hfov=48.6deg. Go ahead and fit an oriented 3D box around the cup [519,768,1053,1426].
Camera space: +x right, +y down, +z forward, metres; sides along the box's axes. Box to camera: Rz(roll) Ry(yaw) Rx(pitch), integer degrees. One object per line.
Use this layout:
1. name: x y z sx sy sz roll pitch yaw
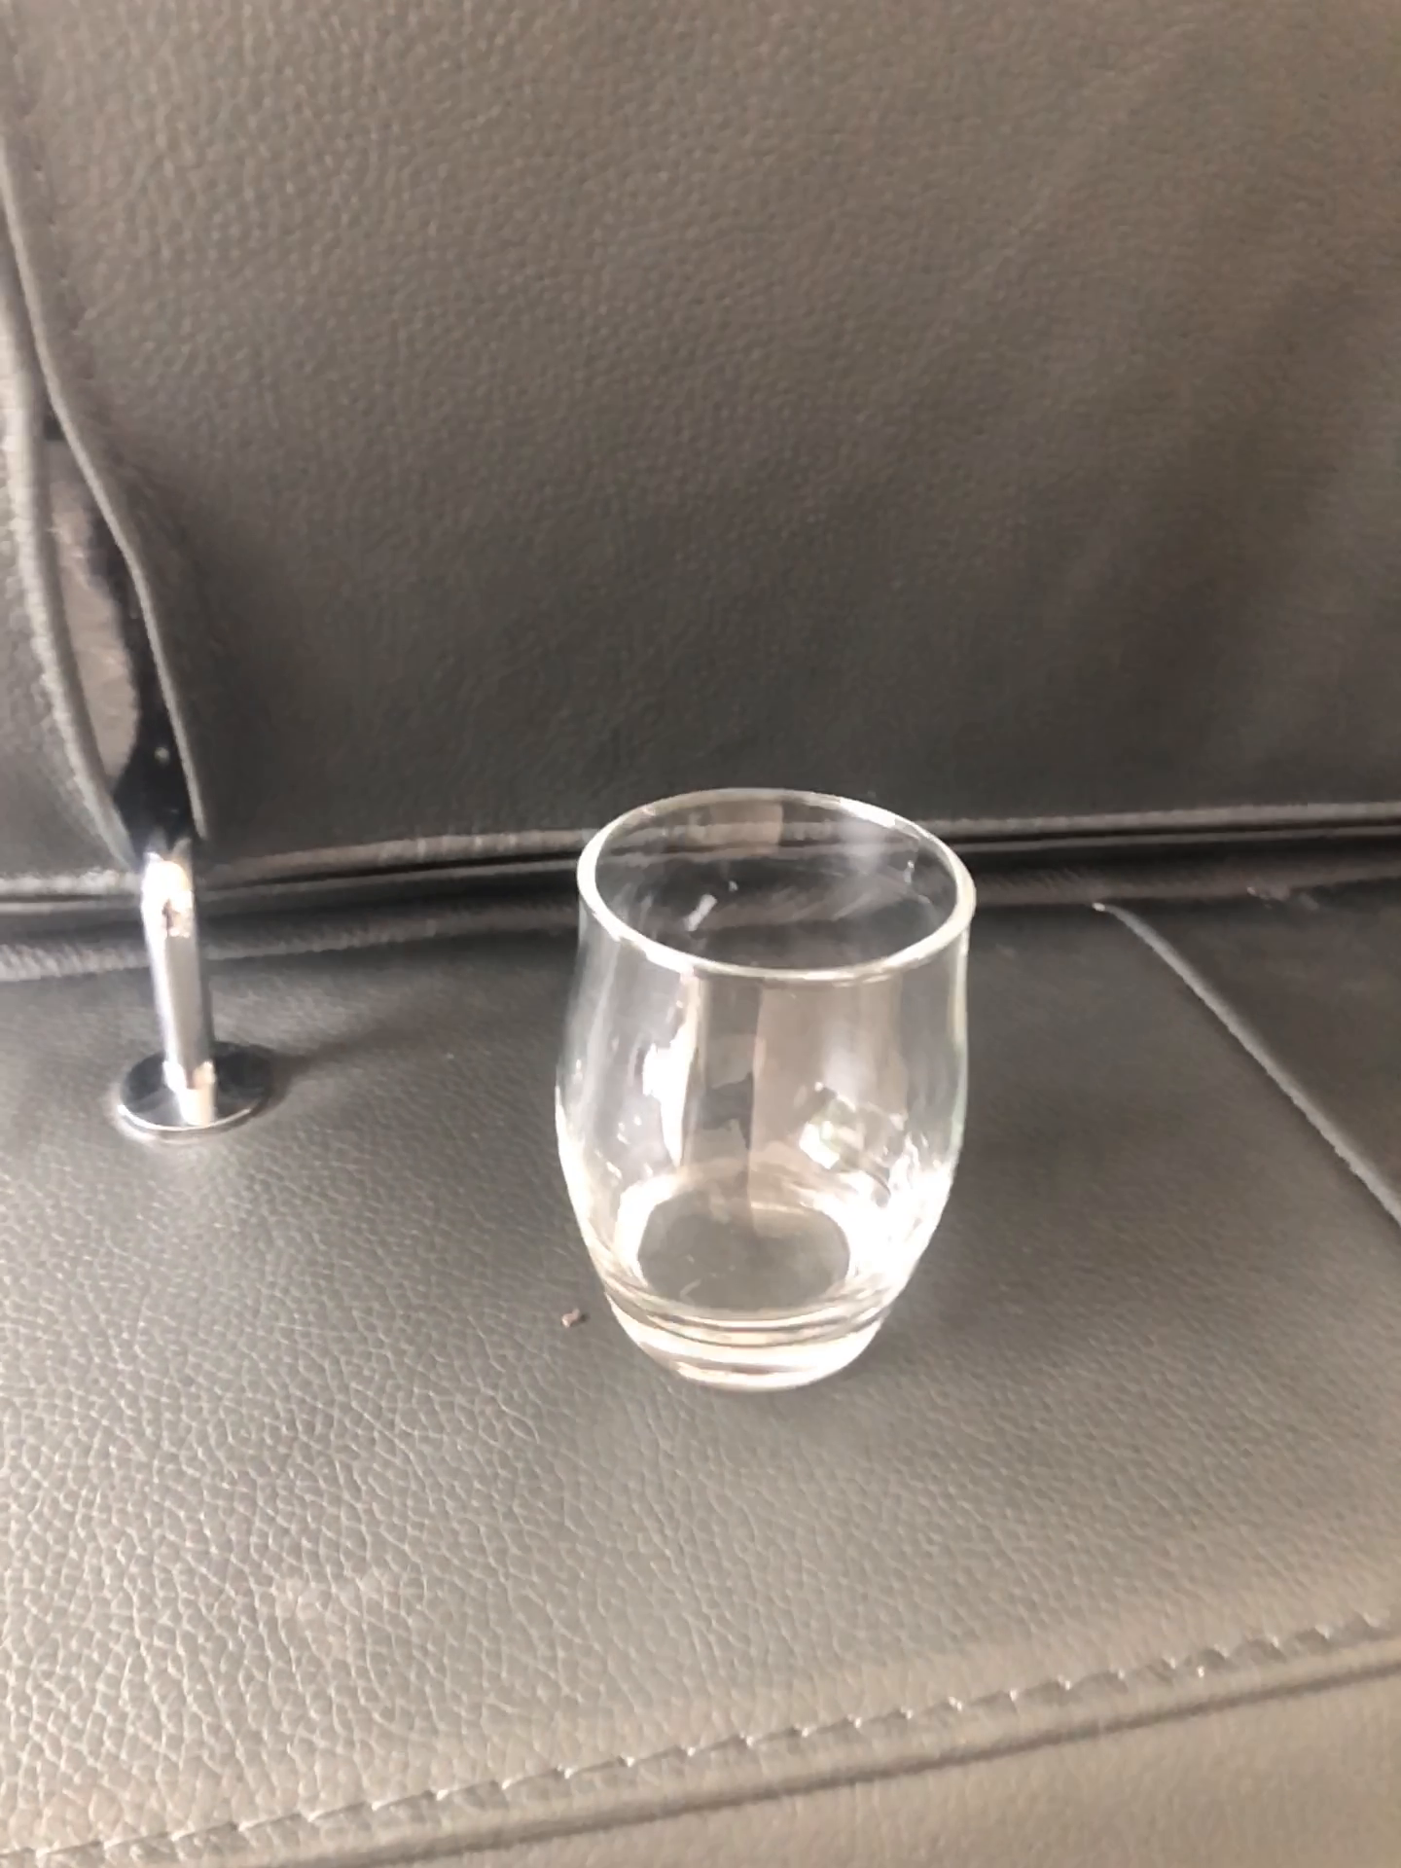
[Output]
1. cup: 0.010 0.028 0.289 0.080 0.089 0.080 2 30 -1
